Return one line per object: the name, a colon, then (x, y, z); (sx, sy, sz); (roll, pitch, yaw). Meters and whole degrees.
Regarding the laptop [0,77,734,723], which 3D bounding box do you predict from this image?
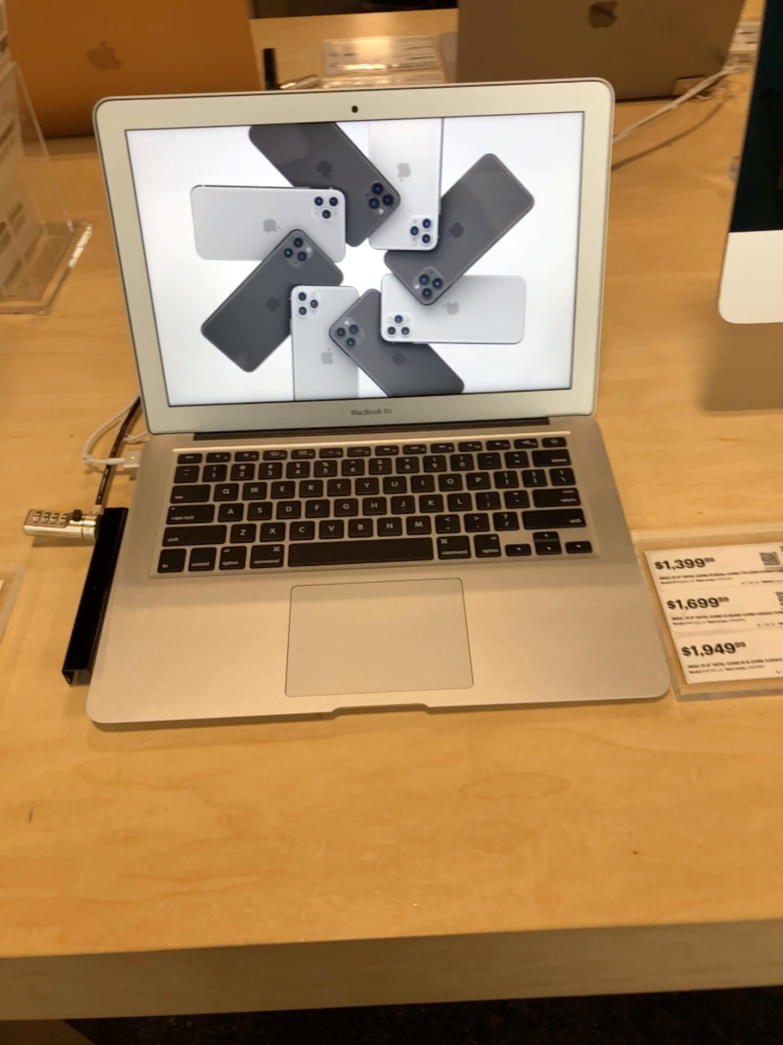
laptop: (-0.031, -0.078, 0.500); (0.324, 0.202, 0.311); (-2, 48, 3)
